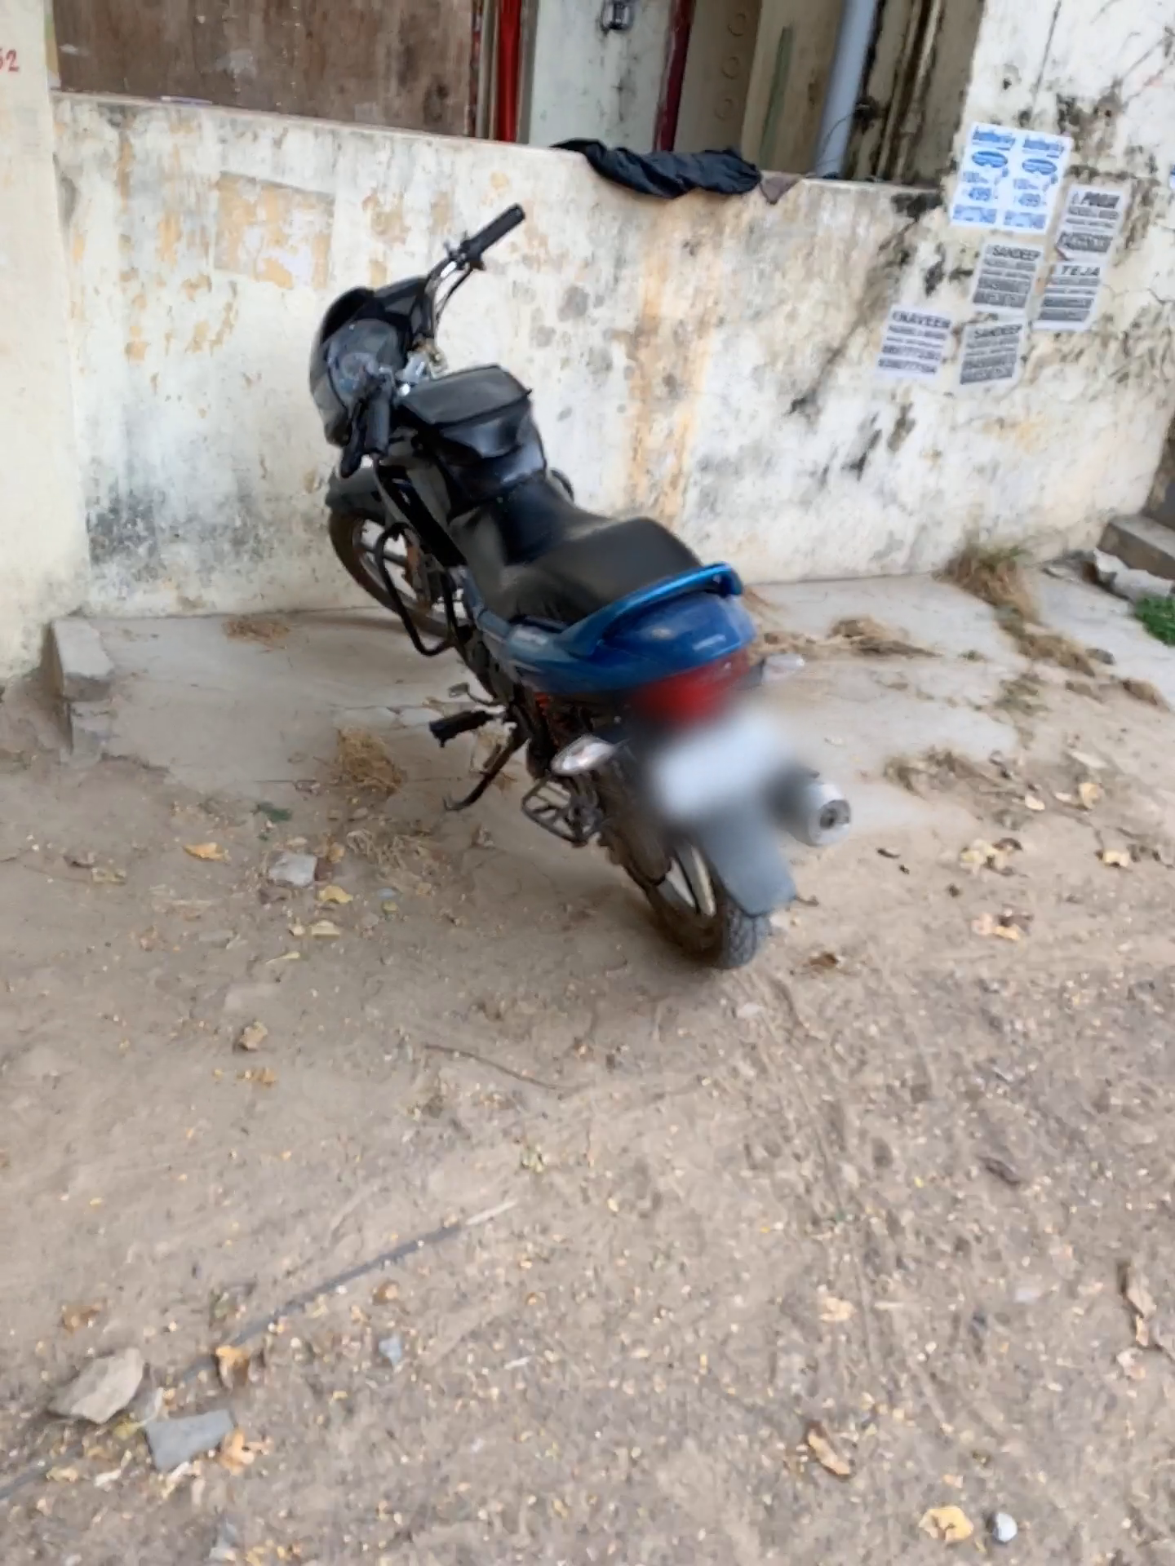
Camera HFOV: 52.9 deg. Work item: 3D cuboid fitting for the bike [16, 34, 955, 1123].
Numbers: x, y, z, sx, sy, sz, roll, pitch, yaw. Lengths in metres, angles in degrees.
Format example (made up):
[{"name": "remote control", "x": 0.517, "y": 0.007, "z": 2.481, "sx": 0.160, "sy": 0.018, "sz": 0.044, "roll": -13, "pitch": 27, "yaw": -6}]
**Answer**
[{"name": "bike", "x": -0.391, "y": -0.521, "z": 2.260, "sx": 0.755, "sy": 1.233, "sz": 1.709, "roll": -12, "pitch": 38, "yaw": -33}]
